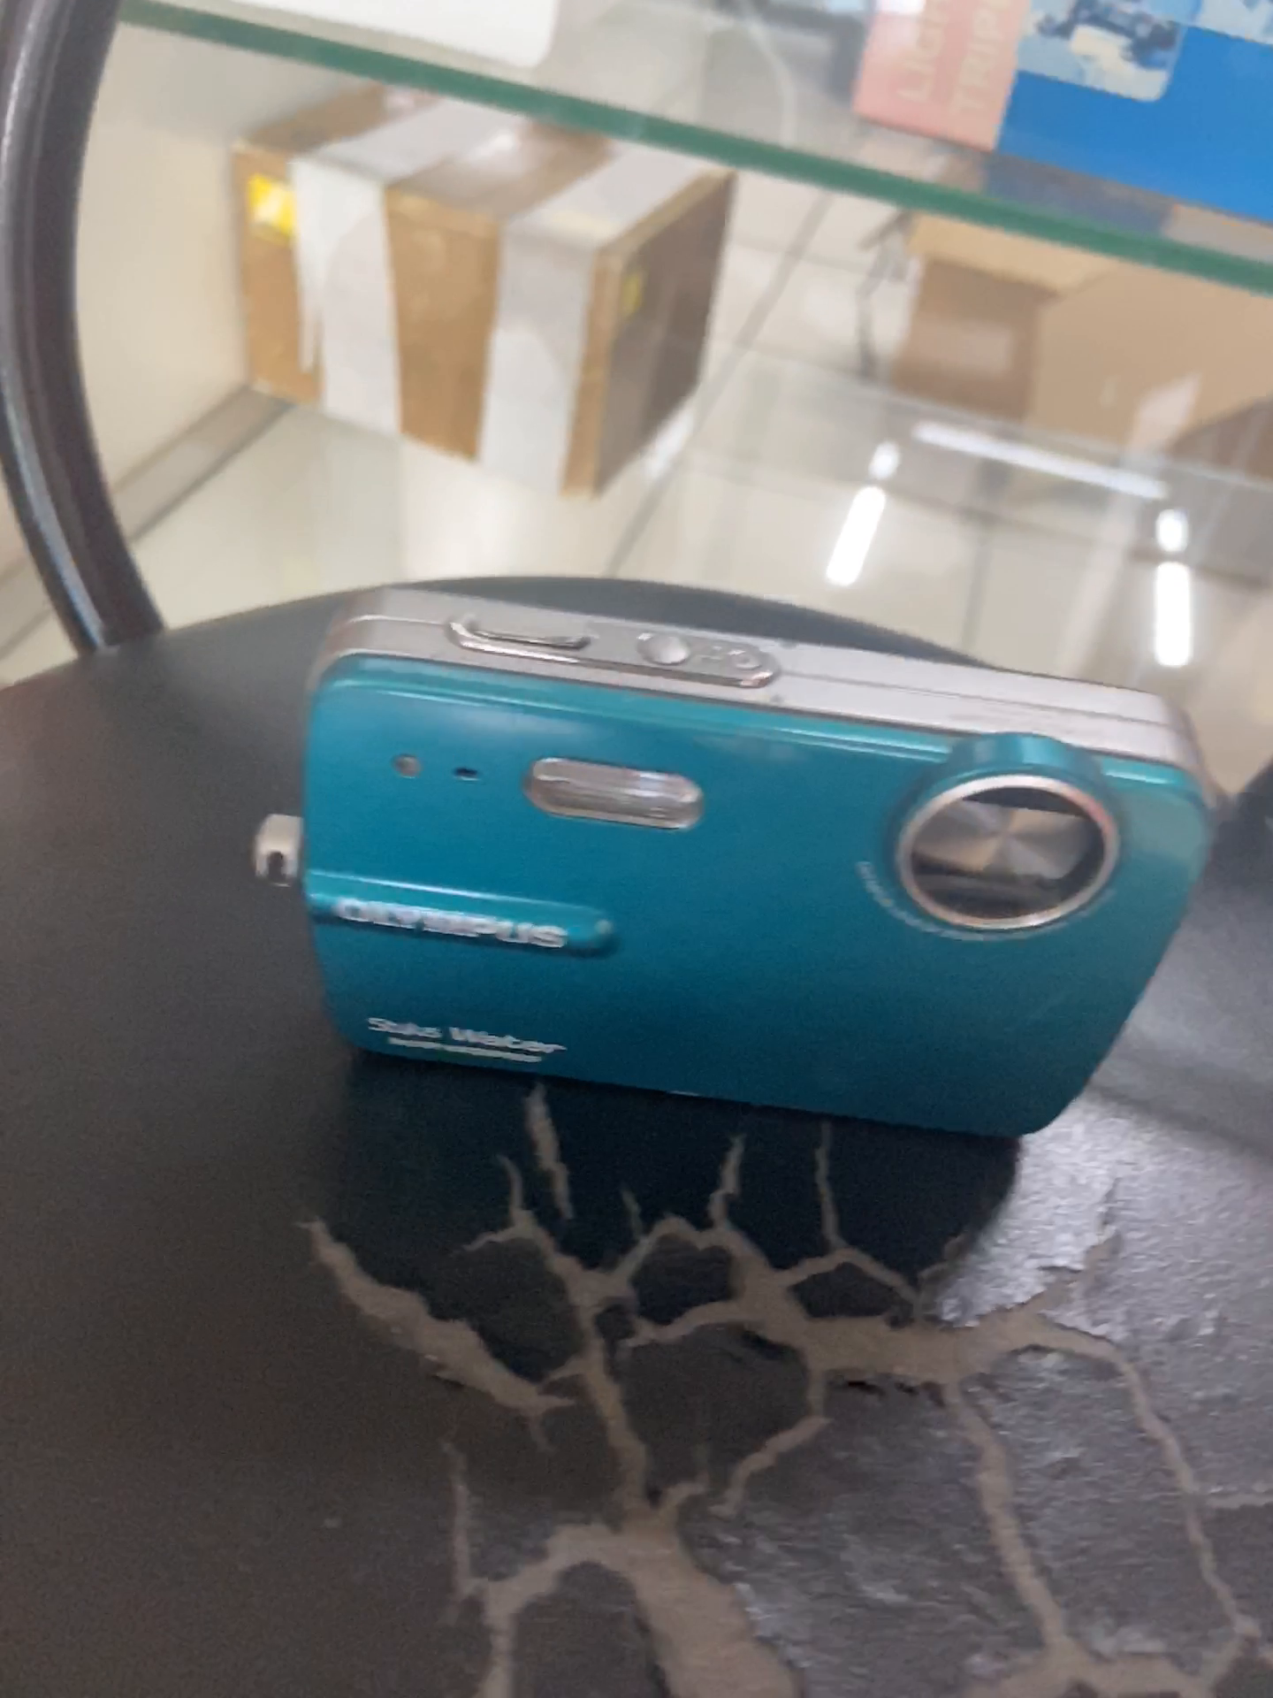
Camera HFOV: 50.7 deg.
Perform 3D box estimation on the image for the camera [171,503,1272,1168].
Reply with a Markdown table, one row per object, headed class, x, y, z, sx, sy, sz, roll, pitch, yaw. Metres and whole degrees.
| class | x | y | z | sx | sy | sz | roll | pitch | yaw |
| --- | --- | --- | --- | --- | --- | --- | --- | --- | --- |
| camera | 0.008 | 0.000 | 0.143 | 0.100 | 0.050 | 0.030 | 8 | 43 | -1 |
